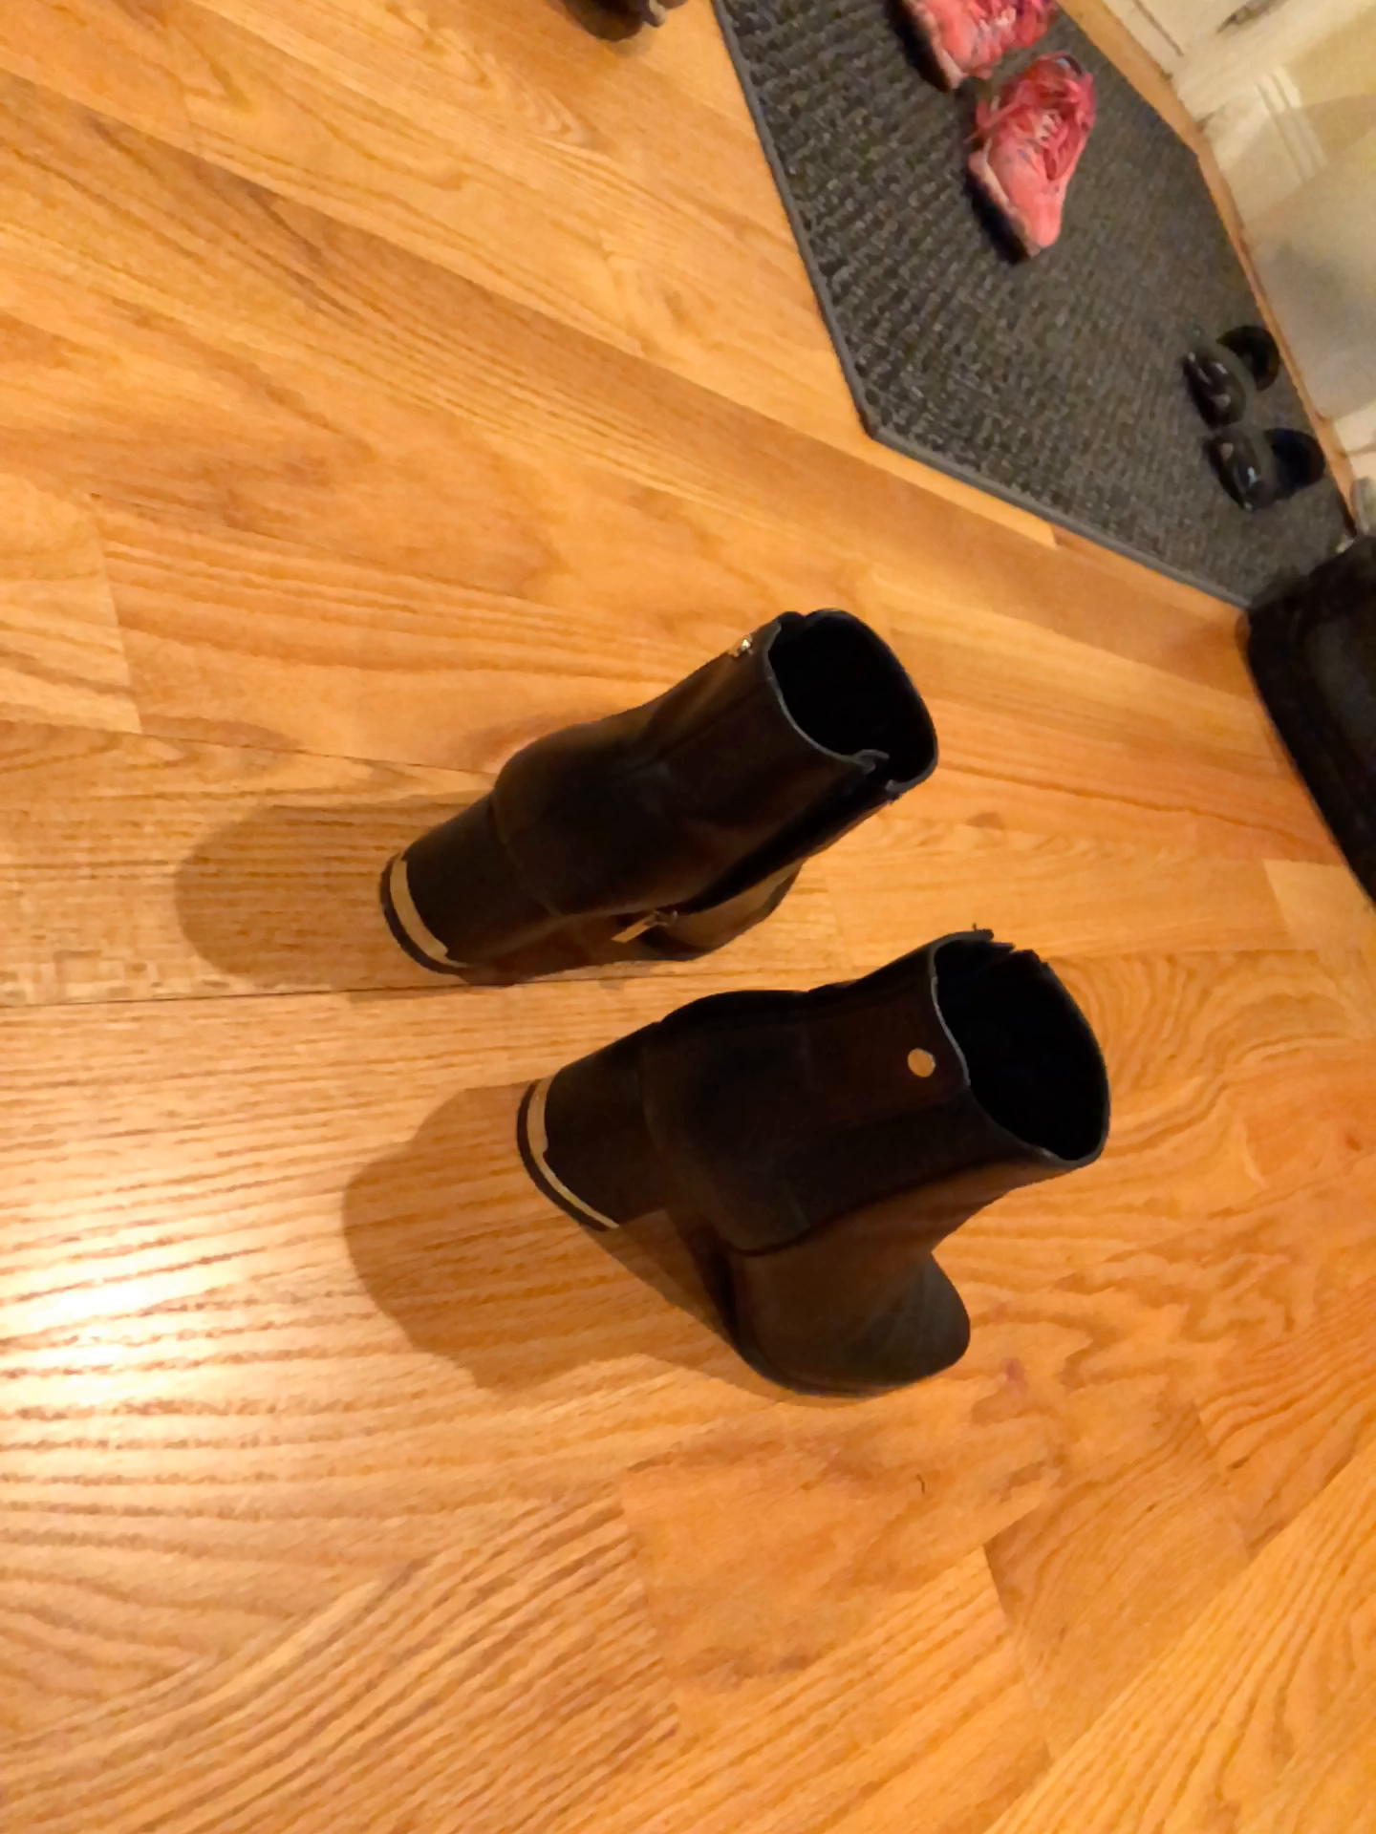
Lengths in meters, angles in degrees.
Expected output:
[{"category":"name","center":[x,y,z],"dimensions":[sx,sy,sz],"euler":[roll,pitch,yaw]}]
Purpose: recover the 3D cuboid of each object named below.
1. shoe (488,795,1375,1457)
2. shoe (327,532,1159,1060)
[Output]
[{"category":"shoe","center":[0.089,0.093,0.524],"dimensions":[0.253,0.172,0.097],"euler":[33,45,-35]},{"category":"shoe","center":[0.034,-0.051,0.544],"dimensions":[0.254,0.172,0.092],"euler":[-18,83,-54]}]
